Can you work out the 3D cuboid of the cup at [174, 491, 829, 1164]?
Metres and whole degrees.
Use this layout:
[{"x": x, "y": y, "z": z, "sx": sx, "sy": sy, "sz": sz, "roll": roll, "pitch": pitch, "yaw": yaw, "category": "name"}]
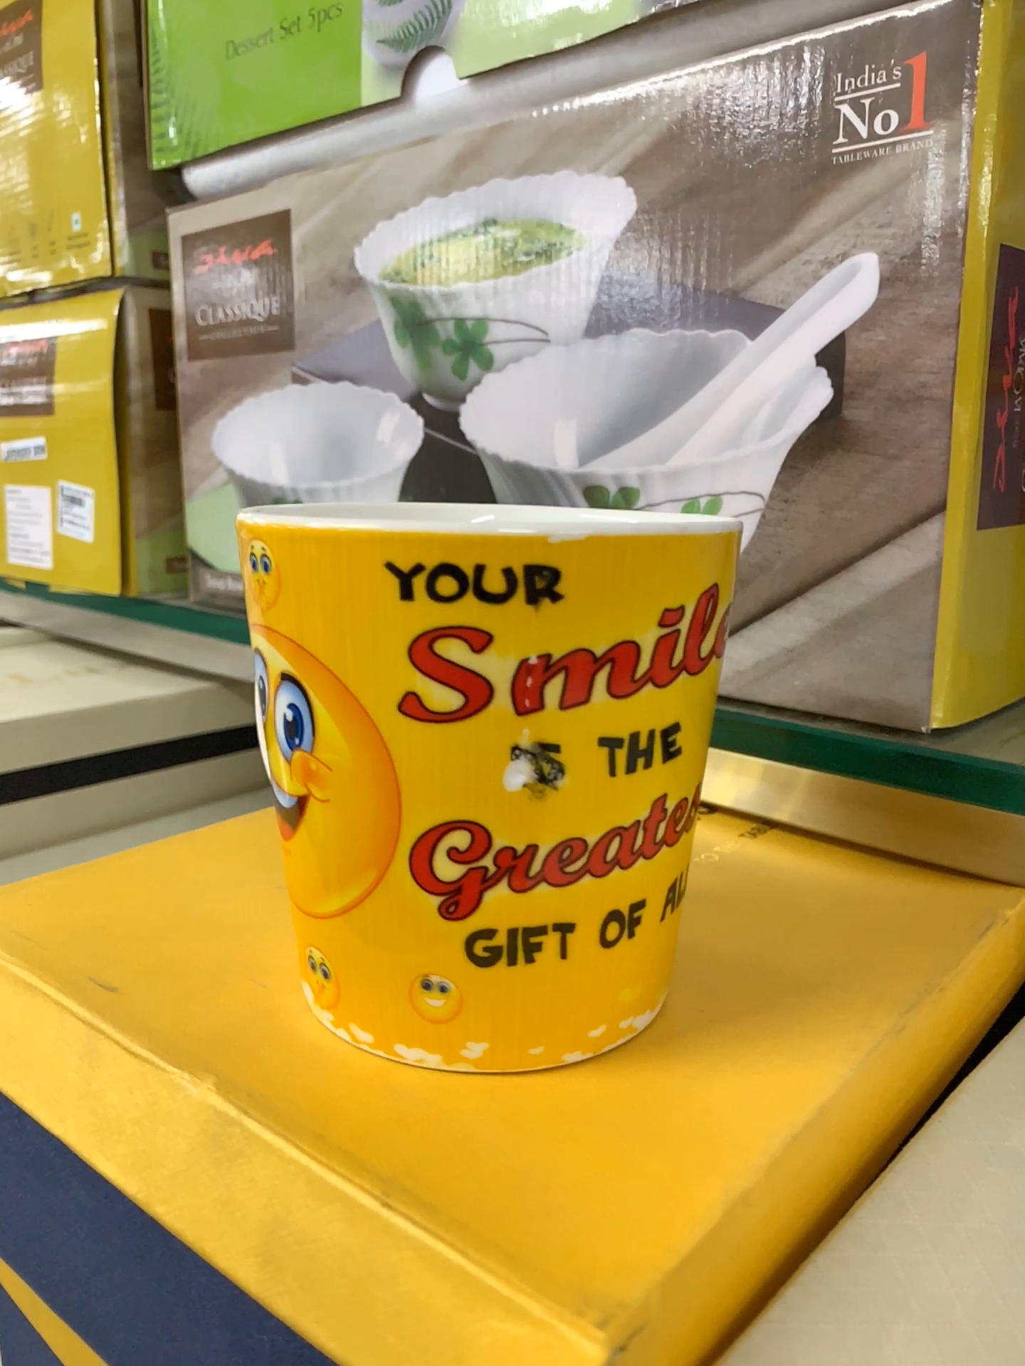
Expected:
[{"x": -0.011, "y": 0.010, "z": 0.214, "sx": 0.070, "sy": 0.090, "sz": 0.120, "roll": -8, "pitch": 15, "yaw": -33, "category": "cup"}]
